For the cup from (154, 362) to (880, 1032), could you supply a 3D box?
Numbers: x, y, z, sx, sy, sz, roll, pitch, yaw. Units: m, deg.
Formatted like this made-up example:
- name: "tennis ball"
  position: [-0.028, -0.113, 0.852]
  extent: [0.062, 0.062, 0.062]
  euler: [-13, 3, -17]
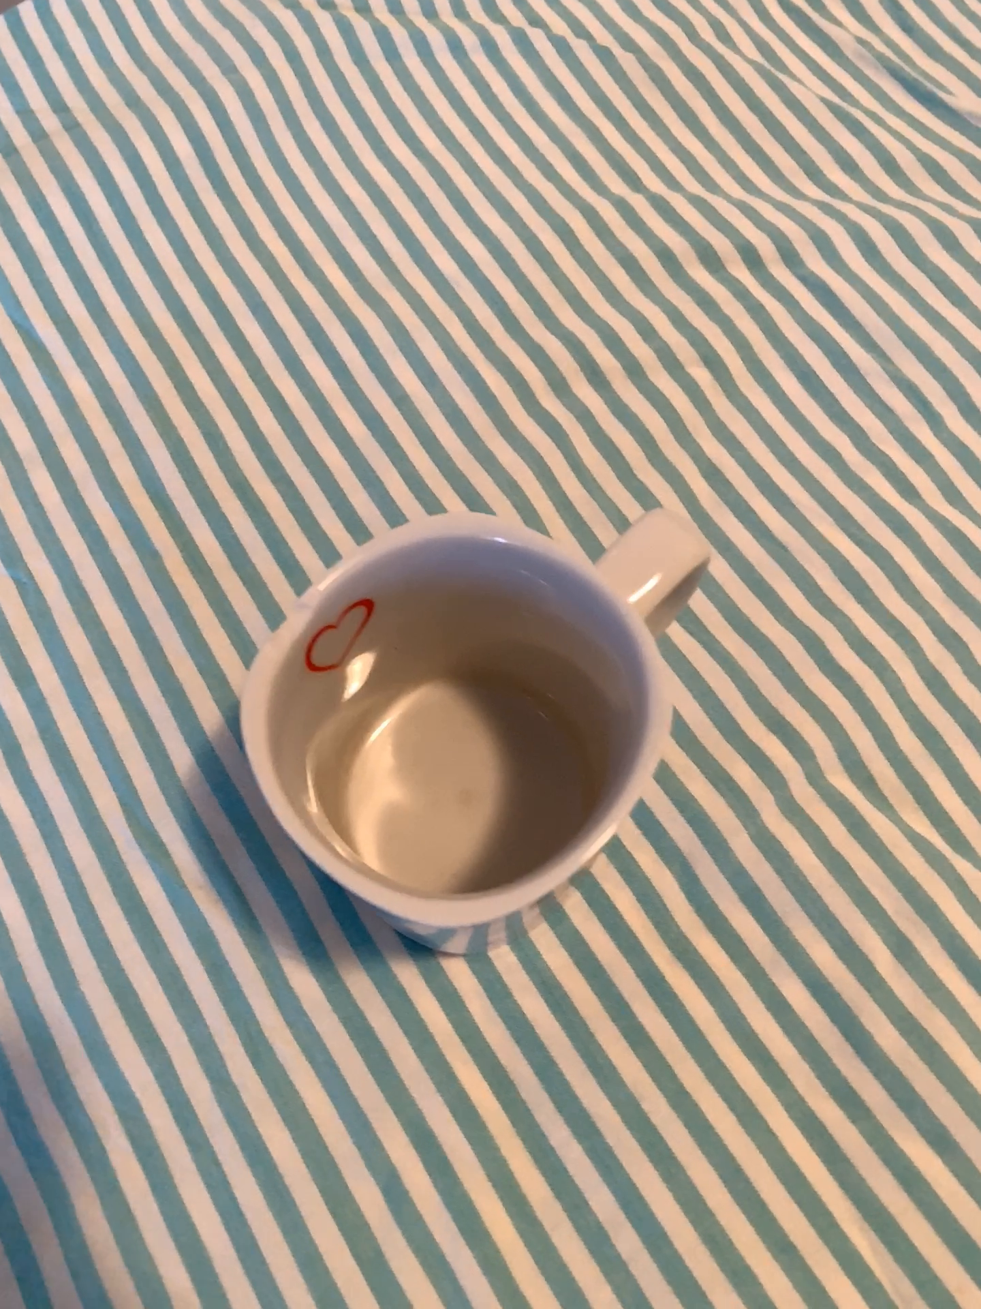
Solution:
- name: "cup"
  position: [0.006, 0.014, 0.218]
  extent: [0.110, 0.080, 0.070]
  euler: [-38, 73, -14]
